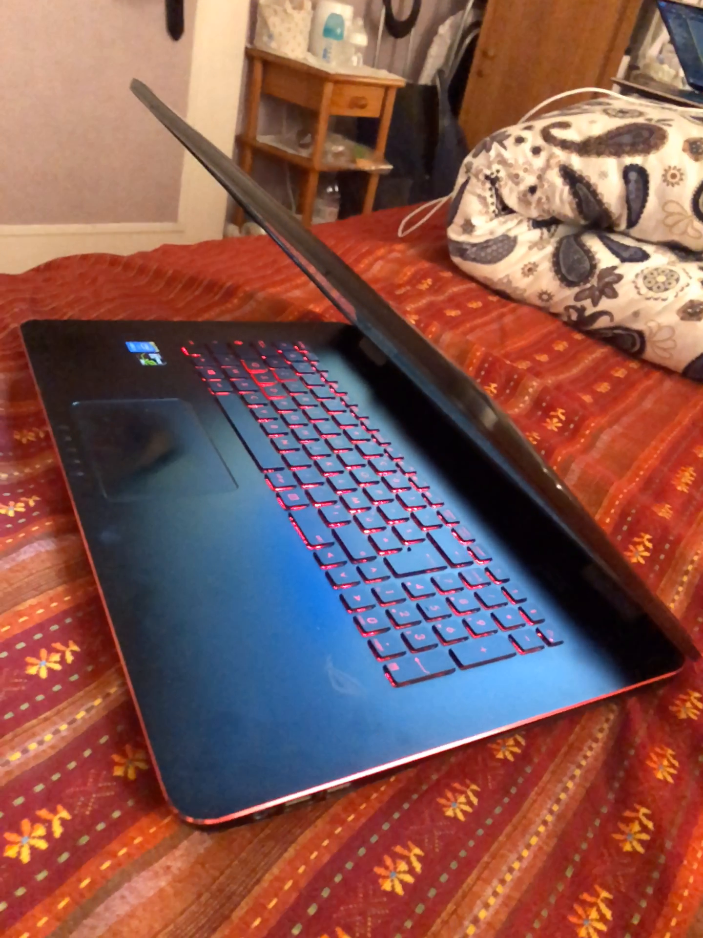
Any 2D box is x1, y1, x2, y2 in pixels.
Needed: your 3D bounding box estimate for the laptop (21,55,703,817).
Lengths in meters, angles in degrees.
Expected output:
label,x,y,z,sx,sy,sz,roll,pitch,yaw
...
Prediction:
label,x,y,z,sx,sy,sz,roll,pitch,yaw
laptop,-0.012,-0.074,0.431,0.268,0.168,0.400,-5,37,-29
